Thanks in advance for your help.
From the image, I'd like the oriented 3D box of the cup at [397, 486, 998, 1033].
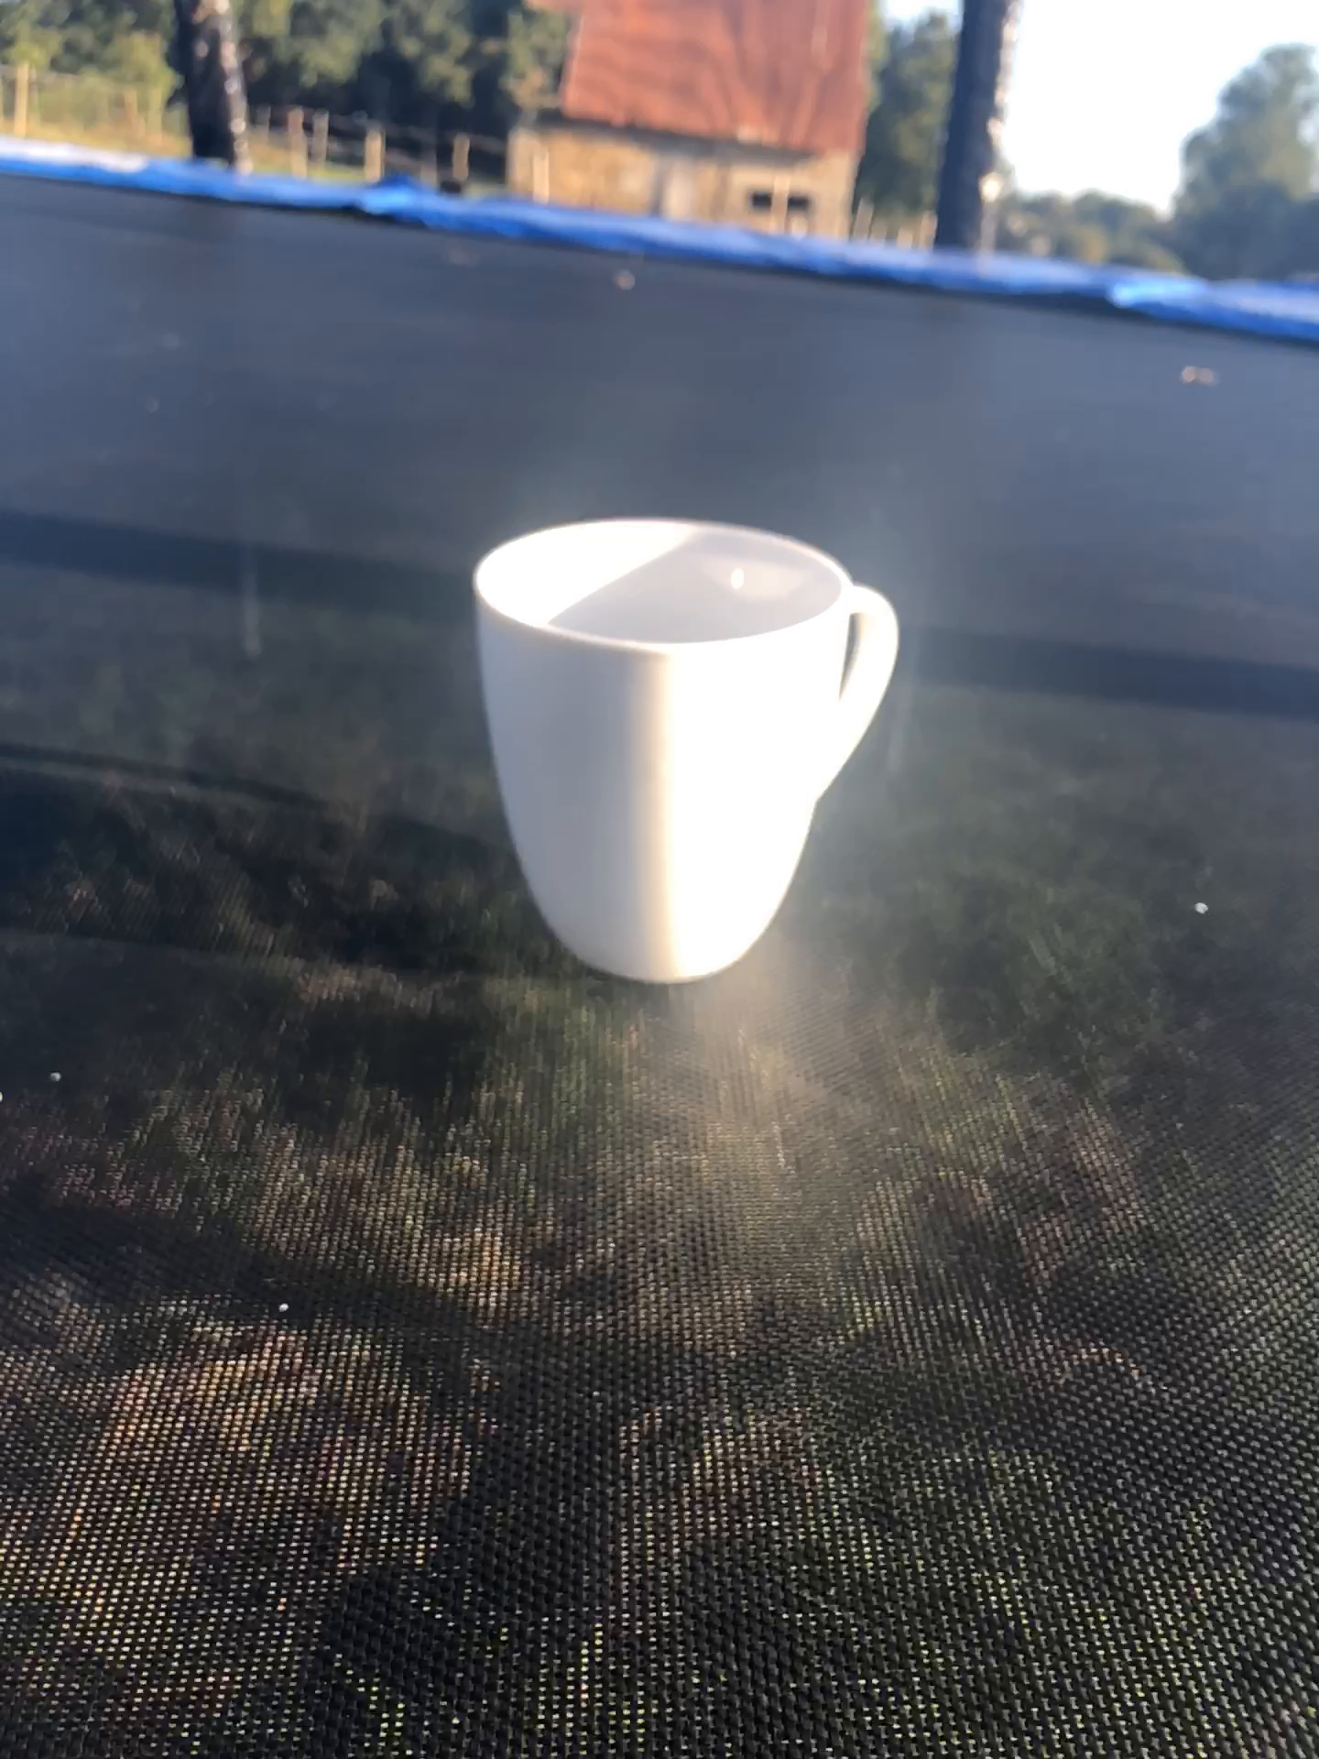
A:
[{"bbox_3d":[0.005,-0.039,0.384,0.110,0.089,0.100,-16,36,-31],"label":"cup"}]
